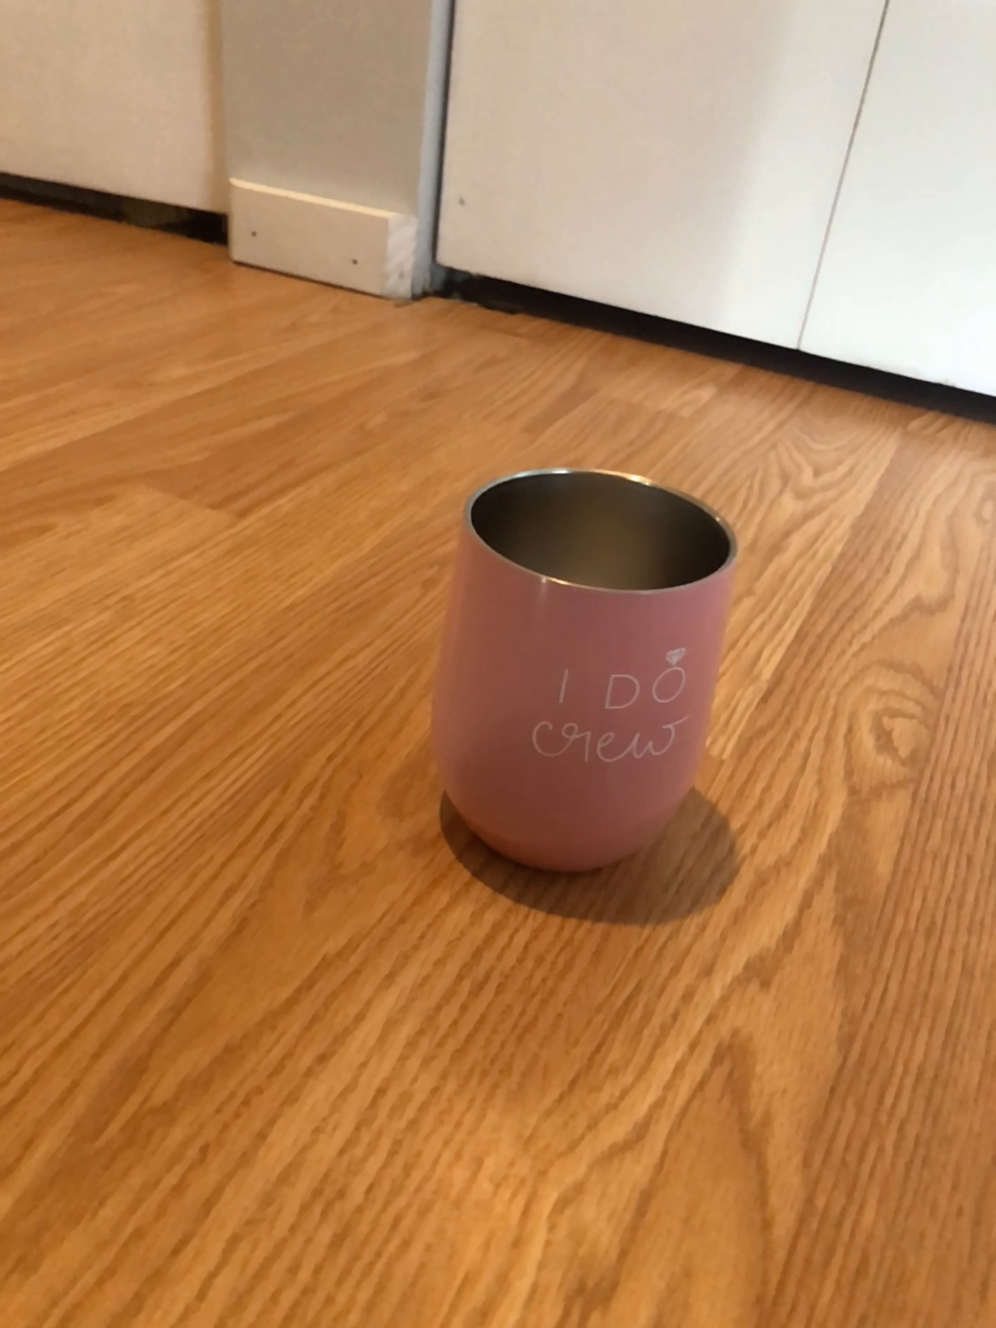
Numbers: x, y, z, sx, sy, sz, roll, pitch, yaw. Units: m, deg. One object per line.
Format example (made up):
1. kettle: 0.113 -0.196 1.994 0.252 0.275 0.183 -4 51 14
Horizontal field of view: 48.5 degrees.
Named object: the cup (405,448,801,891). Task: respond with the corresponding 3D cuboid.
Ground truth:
1. cup: 0.022 0.001 0.339 0.090 0.100 0.090 5 33 -3
